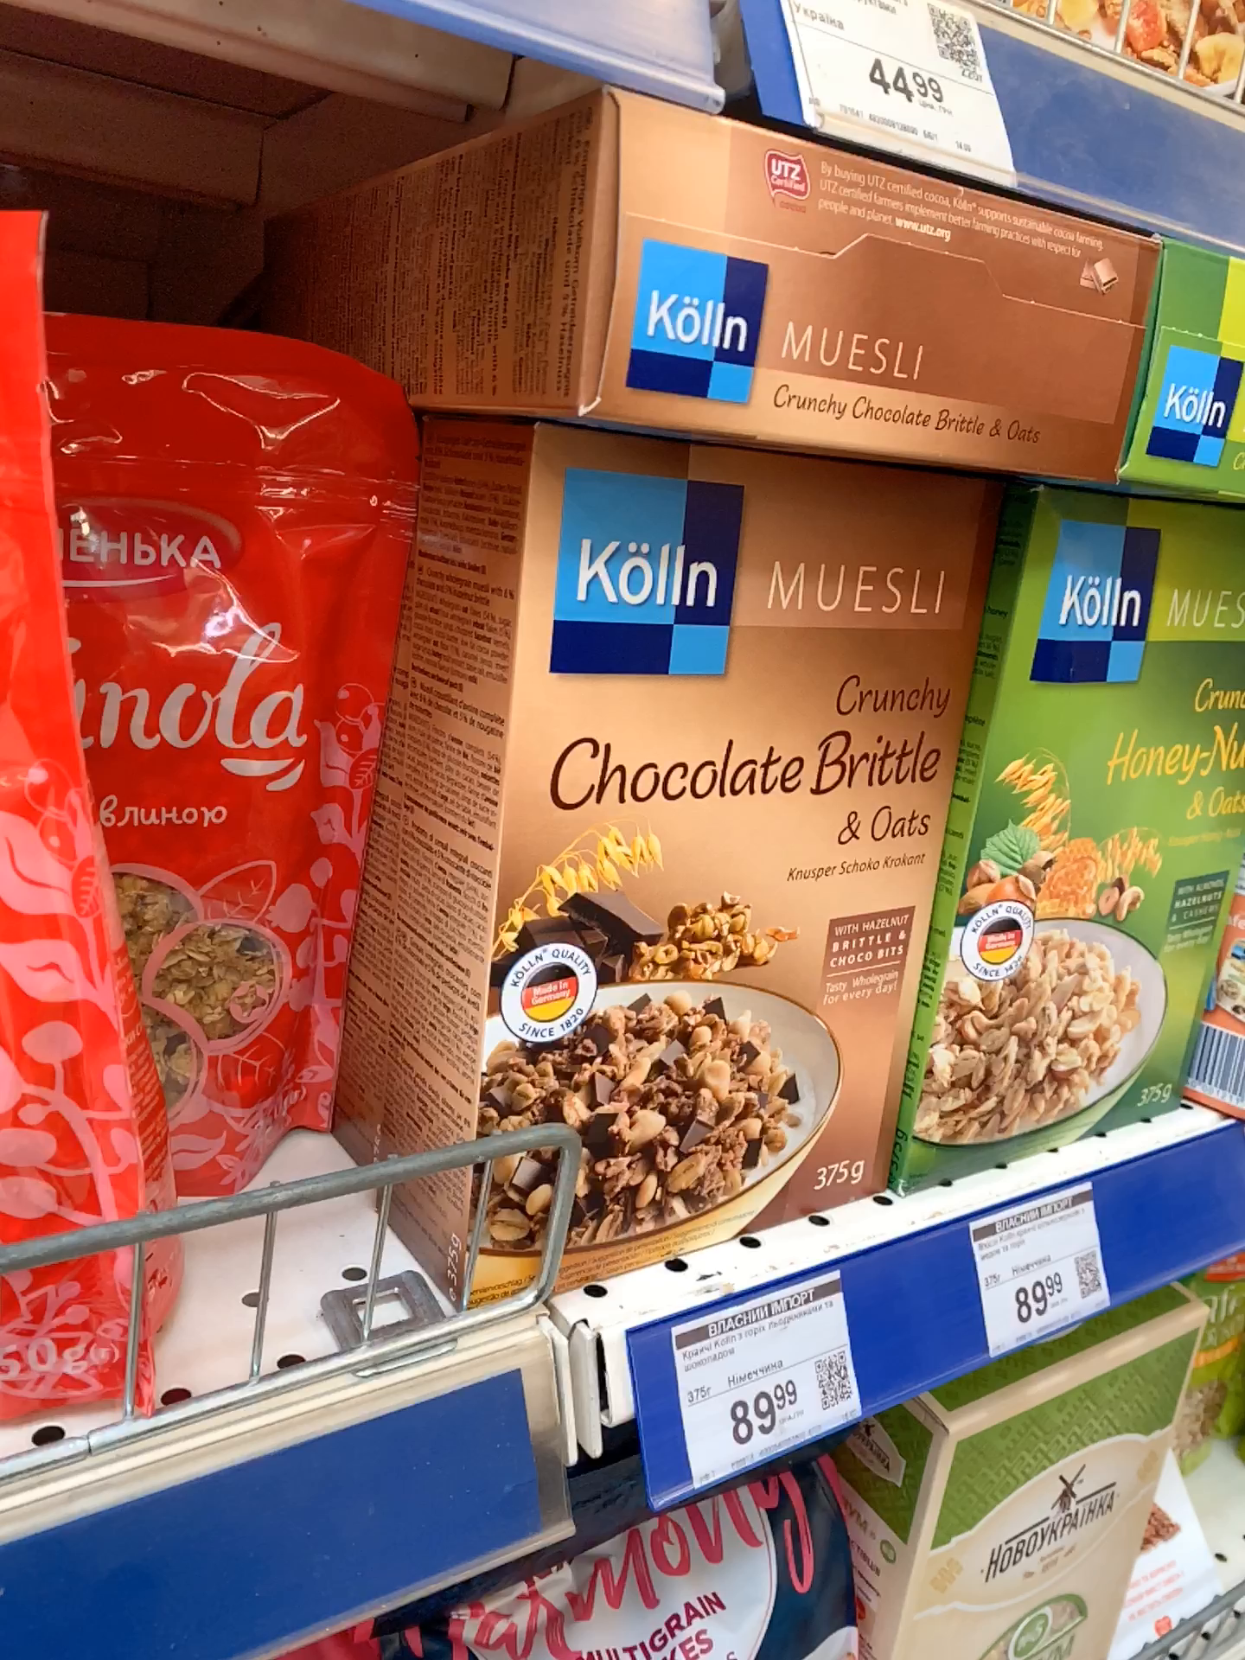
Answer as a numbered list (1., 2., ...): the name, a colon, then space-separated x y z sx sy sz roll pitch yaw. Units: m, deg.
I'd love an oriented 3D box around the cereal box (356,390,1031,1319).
1. cereal box: 0.017 0.002 0.345 0.150 0.209 0.060 -3 16 -34
